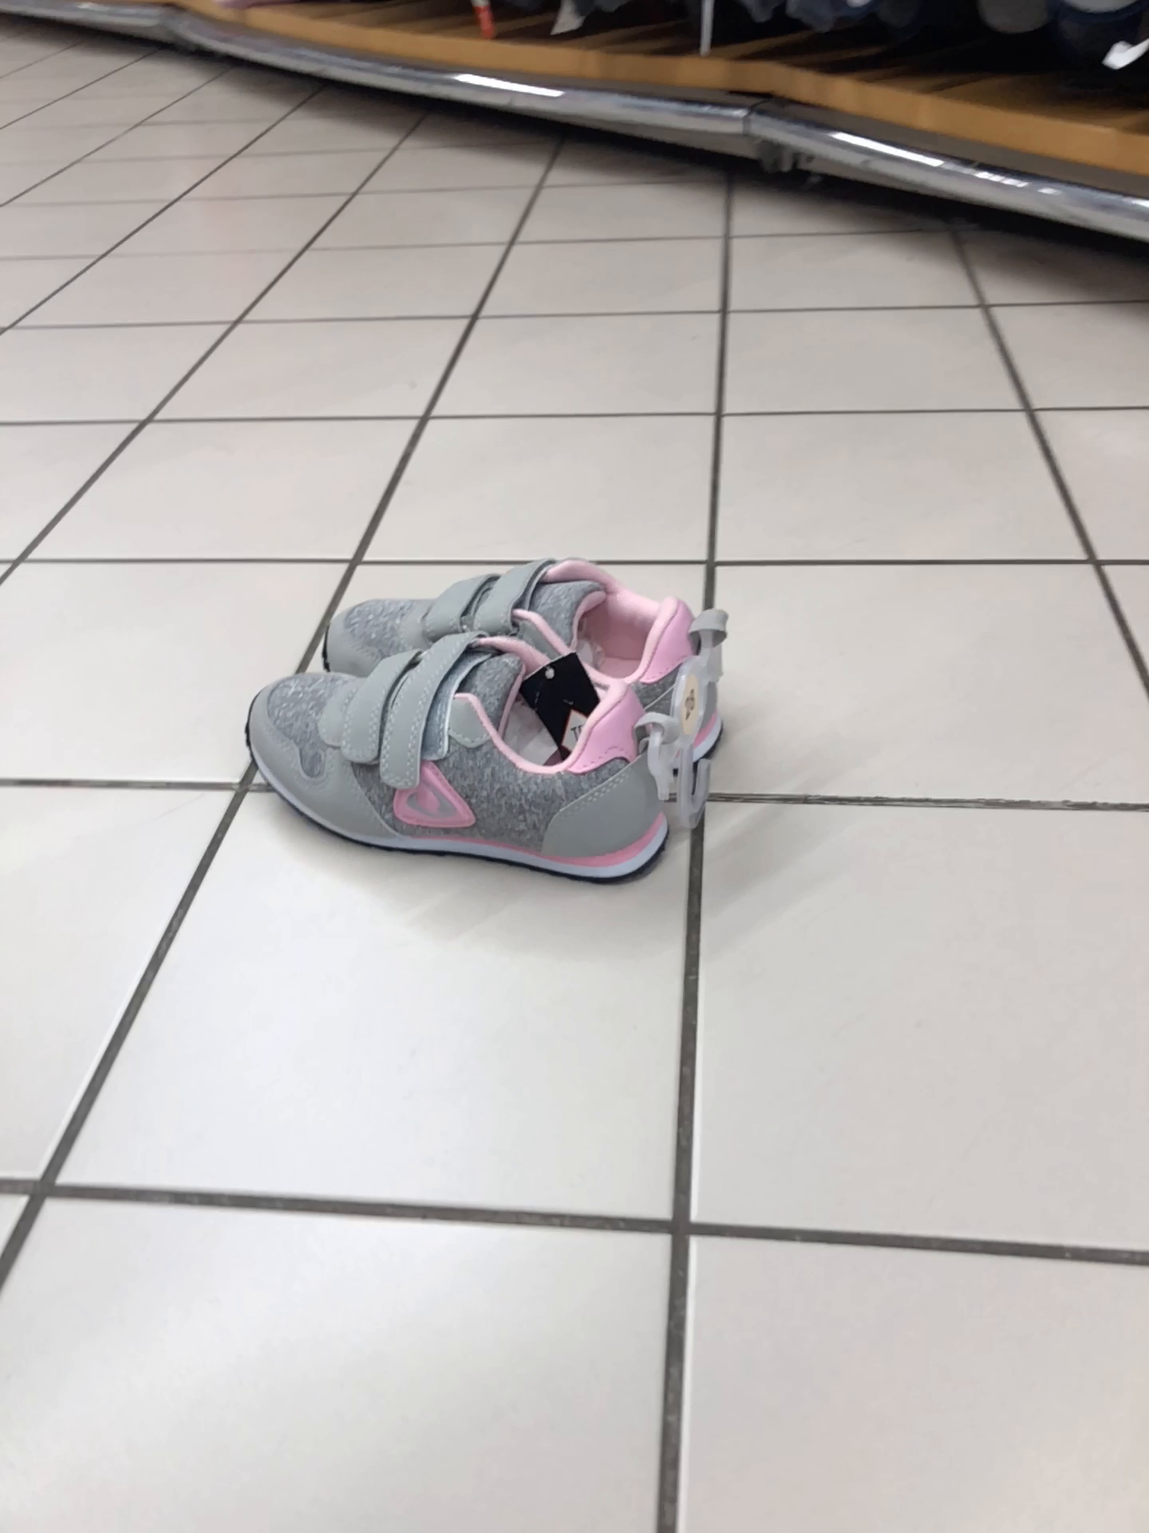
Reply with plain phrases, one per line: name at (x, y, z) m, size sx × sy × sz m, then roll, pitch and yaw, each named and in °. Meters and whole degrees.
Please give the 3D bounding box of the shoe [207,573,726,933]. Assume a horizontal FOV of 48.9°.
shoe at (-0.038, -0.010, 0.502) m, size 0.180 × 0.080 × 0.081 m, roll 11°, pitch 40°, yaw 20°

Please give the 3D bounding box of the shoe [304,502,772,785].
shoe at (-0.012, -0.057, 0.551) m, size 0.180 × 0.070 × 0.081 m, roll 9°, pitch 39°, yaw 17°
